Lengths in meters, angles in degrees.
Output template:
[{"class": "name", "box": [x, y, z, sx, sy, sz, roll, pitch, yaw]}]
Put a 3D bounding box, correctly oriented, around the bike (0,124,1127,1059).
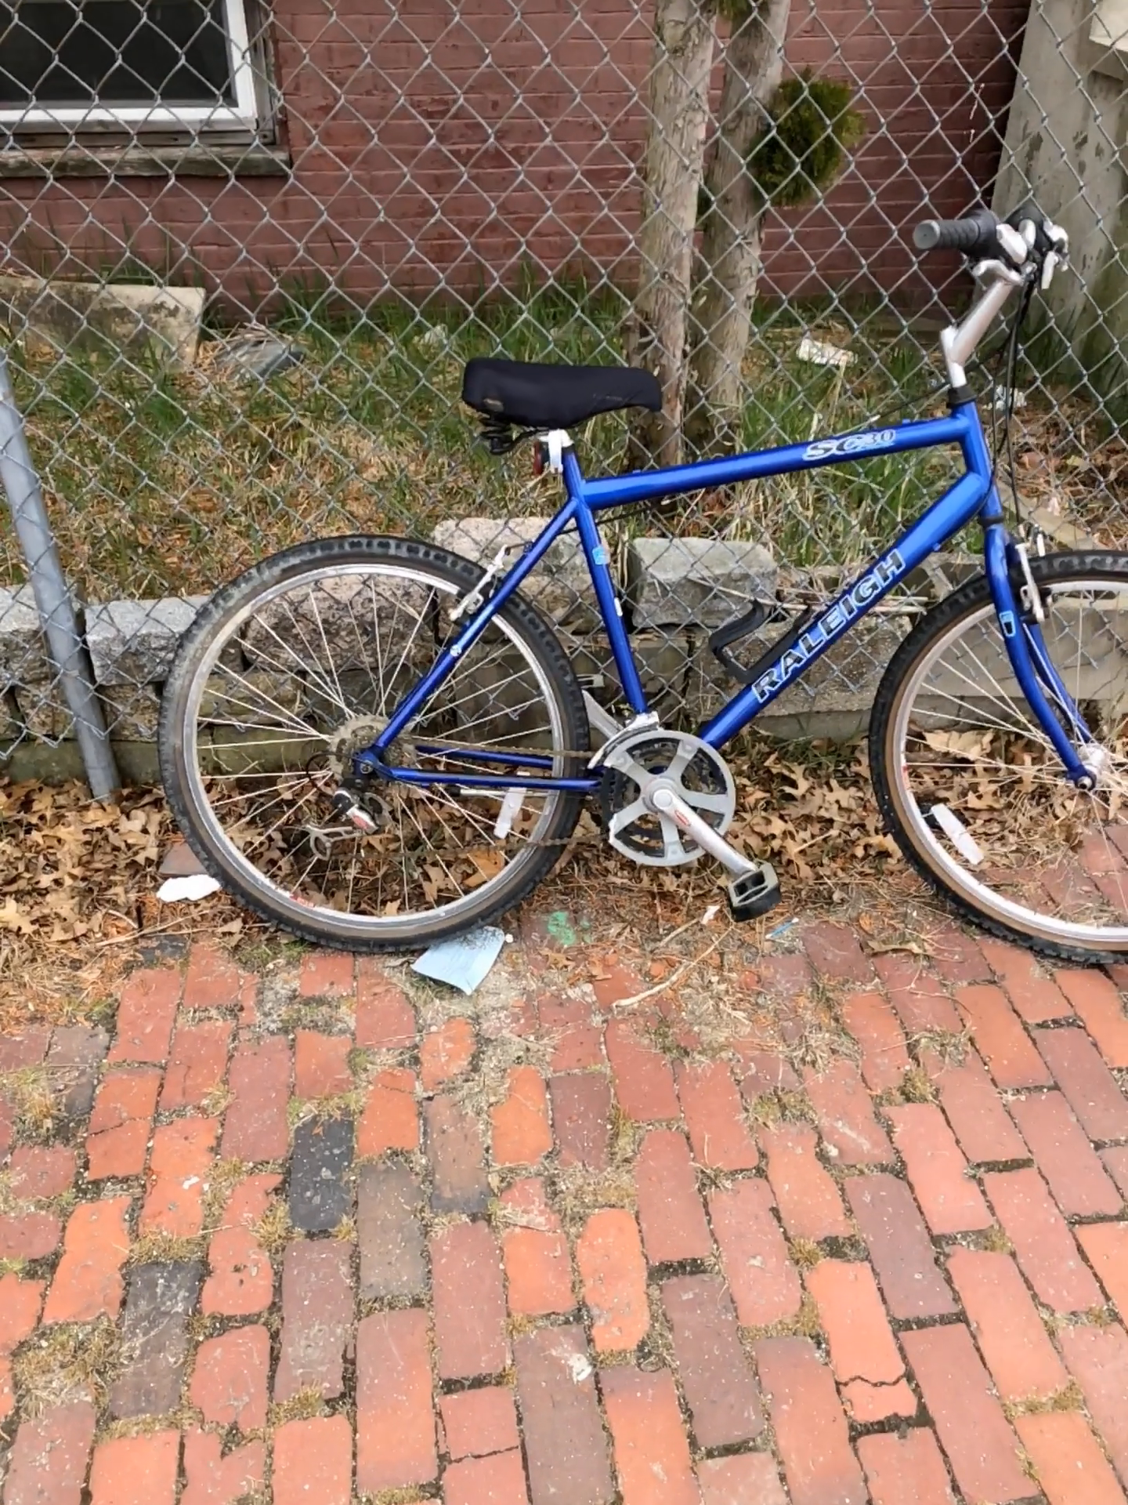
[{"class": "bike", "box": [0.257, -0.236, 1.720, 1.663, 1.024, 0.684, 1, 32, 6]}]
